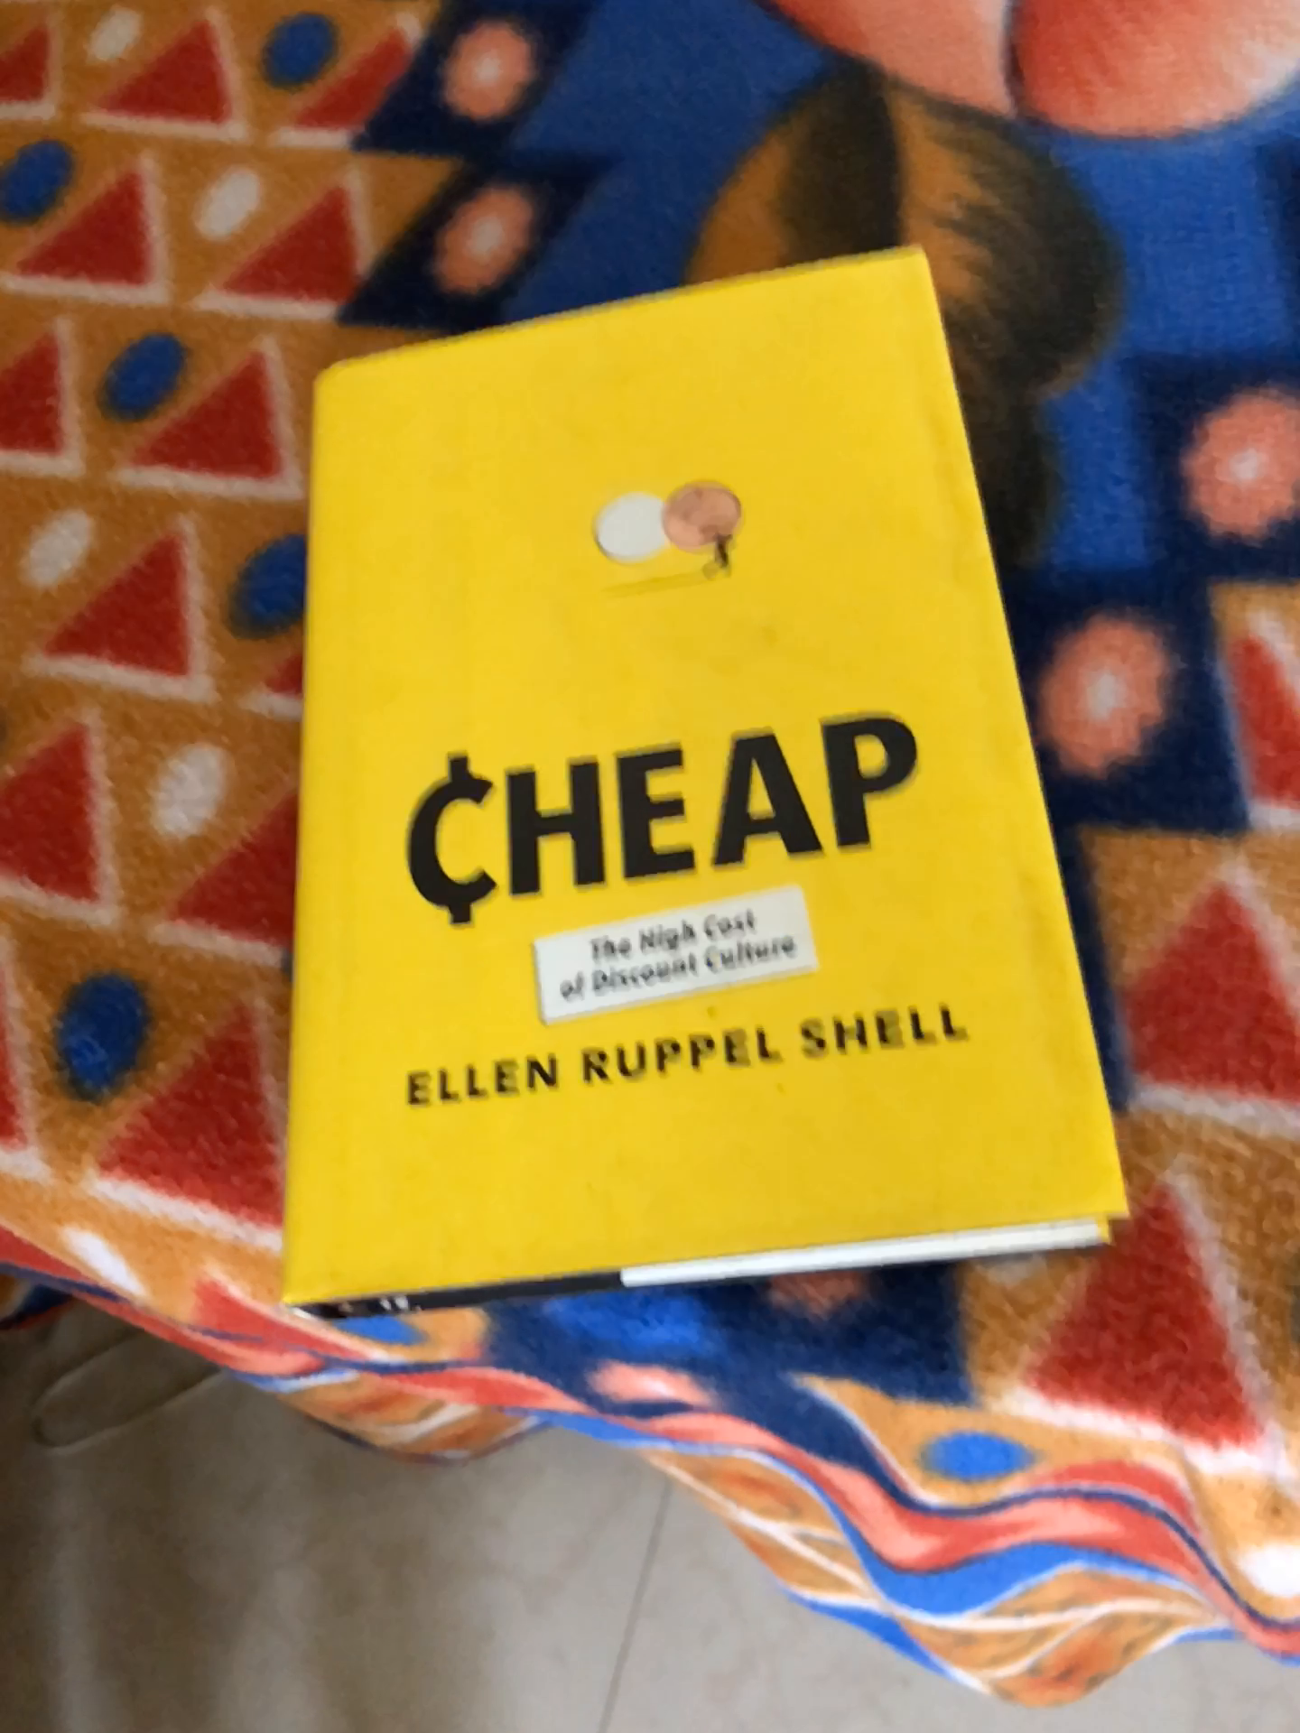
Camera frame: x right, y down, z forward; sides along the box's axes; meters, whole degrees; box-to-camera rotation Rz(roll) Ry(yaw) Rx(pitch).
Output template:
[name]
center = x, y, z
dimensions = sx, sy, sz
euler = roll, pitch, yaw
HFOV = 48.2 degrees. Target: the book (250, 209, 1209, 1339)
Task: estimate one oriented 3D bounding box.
[book]
center = 0.004, -0.031, 0.320
dimensions = 0.170, 0.030, 0.240
euler = -8, 64, 7
